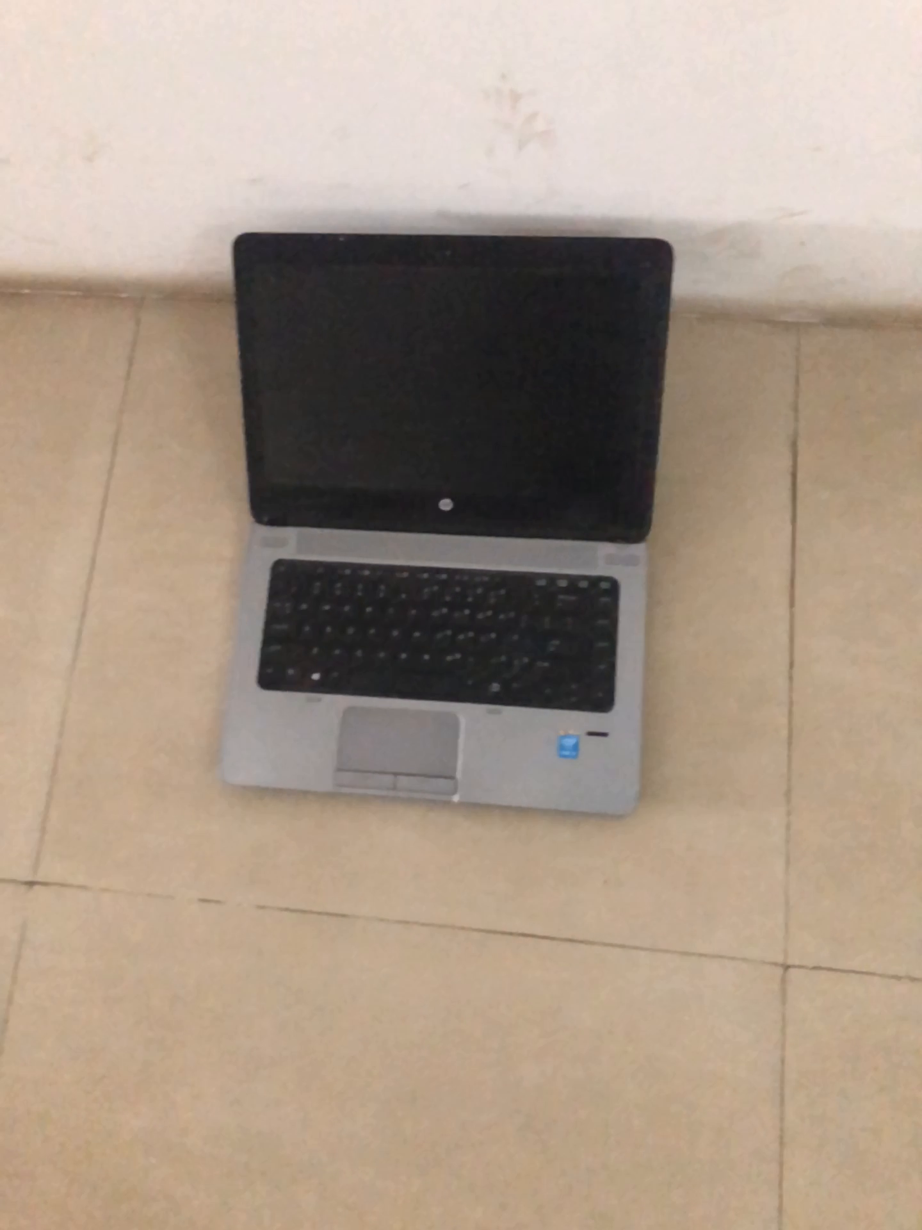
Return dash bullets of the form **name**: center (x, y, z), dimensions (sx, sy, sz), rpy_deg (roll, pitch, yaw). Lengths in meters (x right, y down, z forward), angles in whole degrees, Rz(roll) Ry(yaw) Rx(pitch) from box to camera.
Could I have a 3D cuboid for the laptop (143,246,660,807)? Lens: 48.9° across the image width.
- **laptop**: center (-0.026, -0.067, 0.776), dimensions (0.318, 0.146, 0.385), rpy_deg (5, 74, 6)
